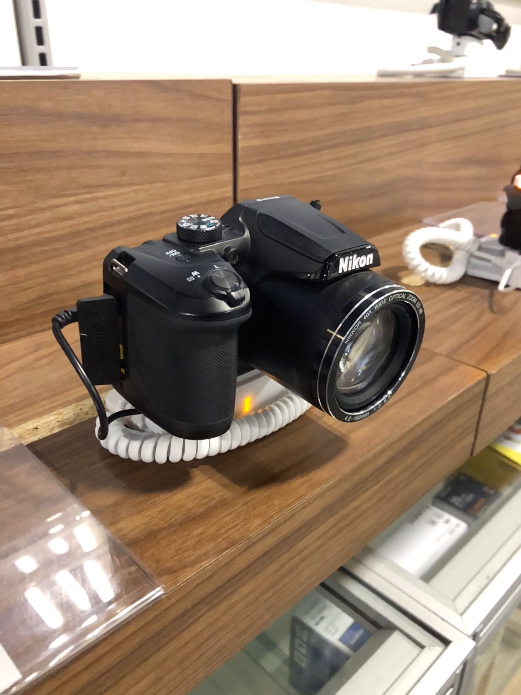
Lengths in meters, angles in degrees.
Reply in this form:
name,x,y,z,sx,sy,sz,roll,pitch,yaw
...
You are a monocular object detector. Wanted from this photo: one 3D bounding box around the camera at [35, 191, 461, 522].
name,x,y,z,sx,sy,sz,roll,pitch,yaw
camera,-0.001,-0.013,0.236,0.130,0.070,0.100,-23,33,-40
